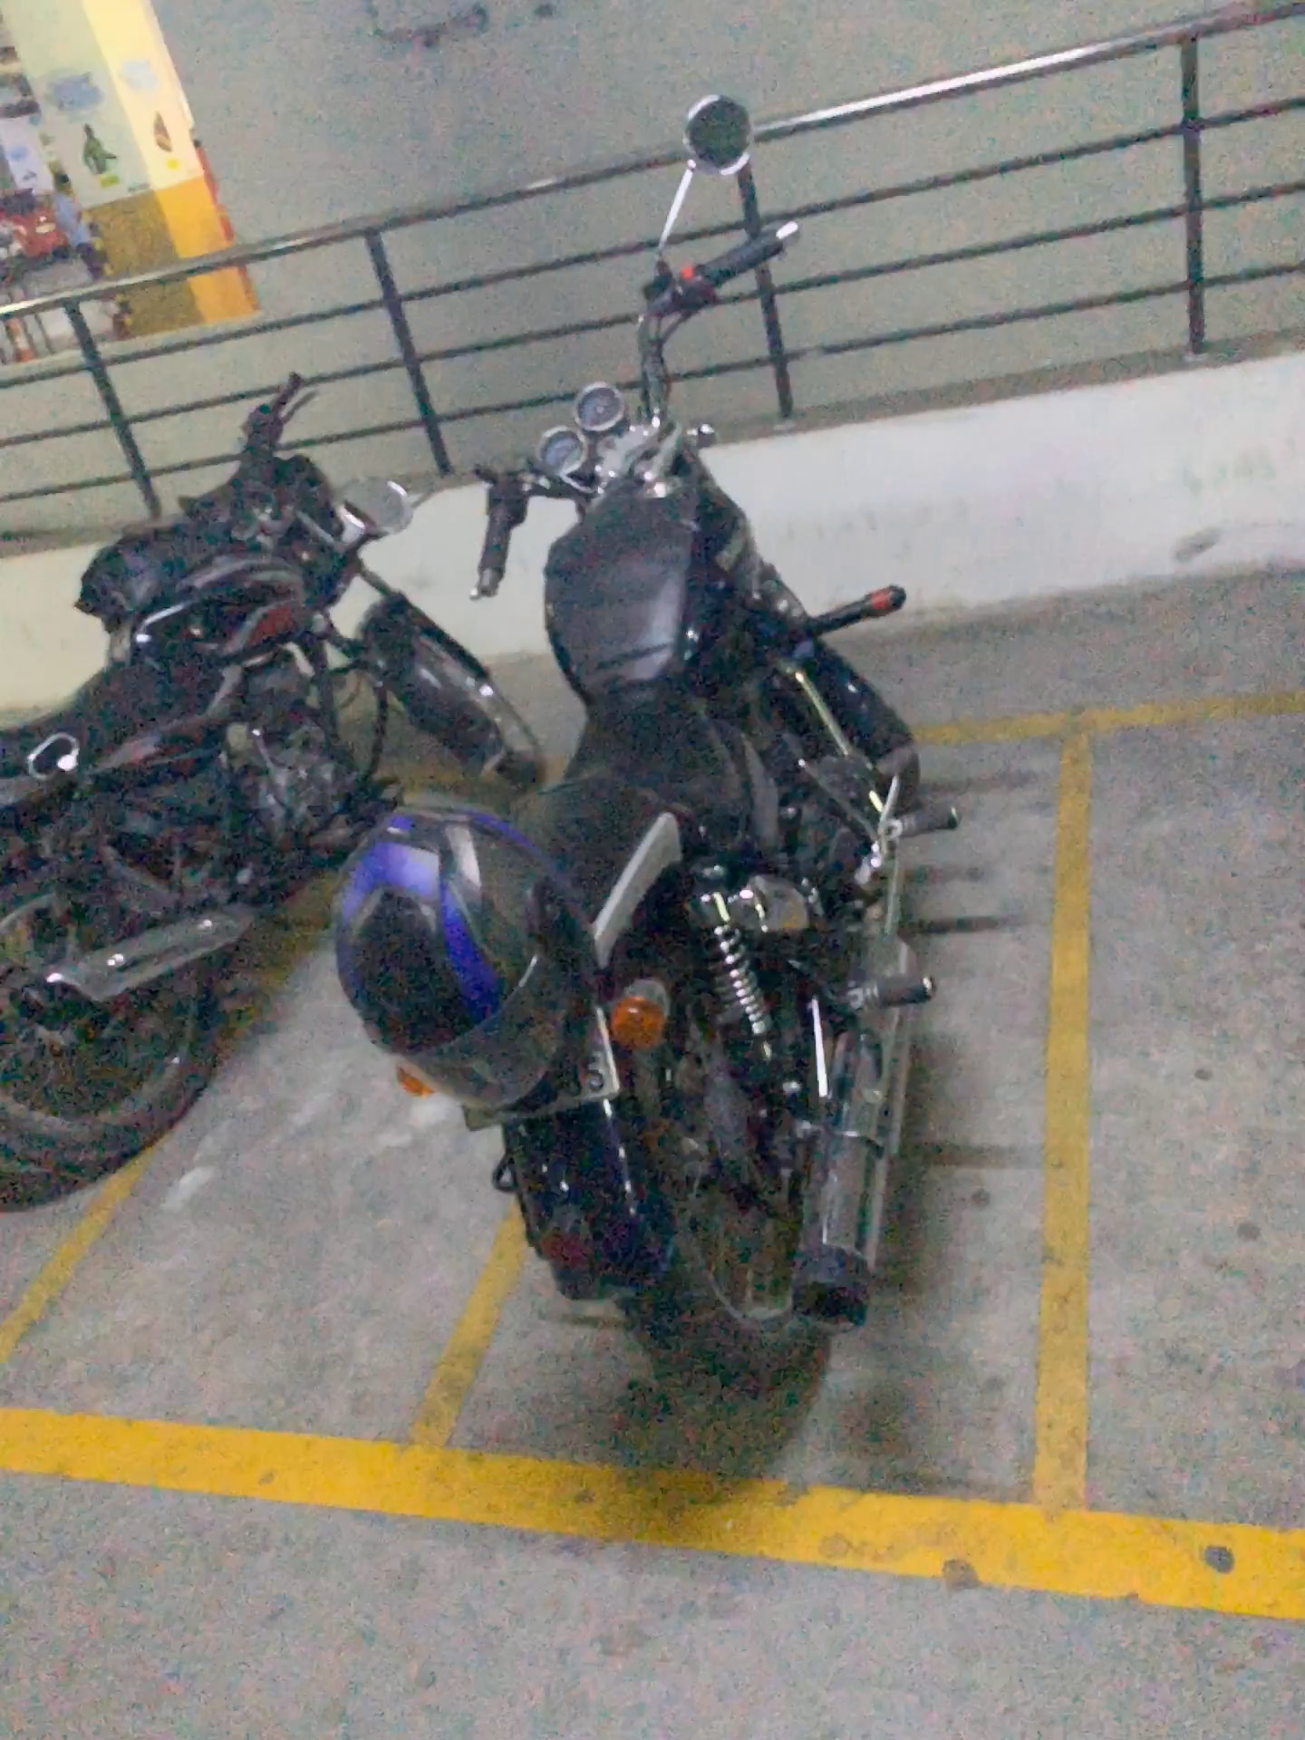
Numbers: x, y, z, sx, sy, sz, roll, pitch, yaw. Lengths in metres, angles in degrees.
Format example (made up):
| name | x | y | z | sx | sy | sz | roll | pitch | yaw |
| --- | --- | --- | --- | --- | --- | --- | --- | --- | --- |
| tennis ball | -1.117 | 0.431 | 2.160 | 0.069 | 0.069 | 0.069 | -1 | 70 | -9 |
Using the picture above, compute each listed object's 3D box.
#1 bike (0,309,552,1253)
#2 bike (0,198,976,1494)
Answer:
| name | x | y | z | sx | sy | sz | roll | pitch | yaw |
| --- | --- | --- | --- | --- | --- | --- | --- | --- | --- |
| bike | -0.994 | -0.272 | 2.790 | 0.595 | 1.192 | 1.505 | 7 | 39 | 32 |
| bike | -0.115 | -0.165 | 2.174 | 0.842 | 1.303 | 1.673 | -9 | 32 | 10 |
